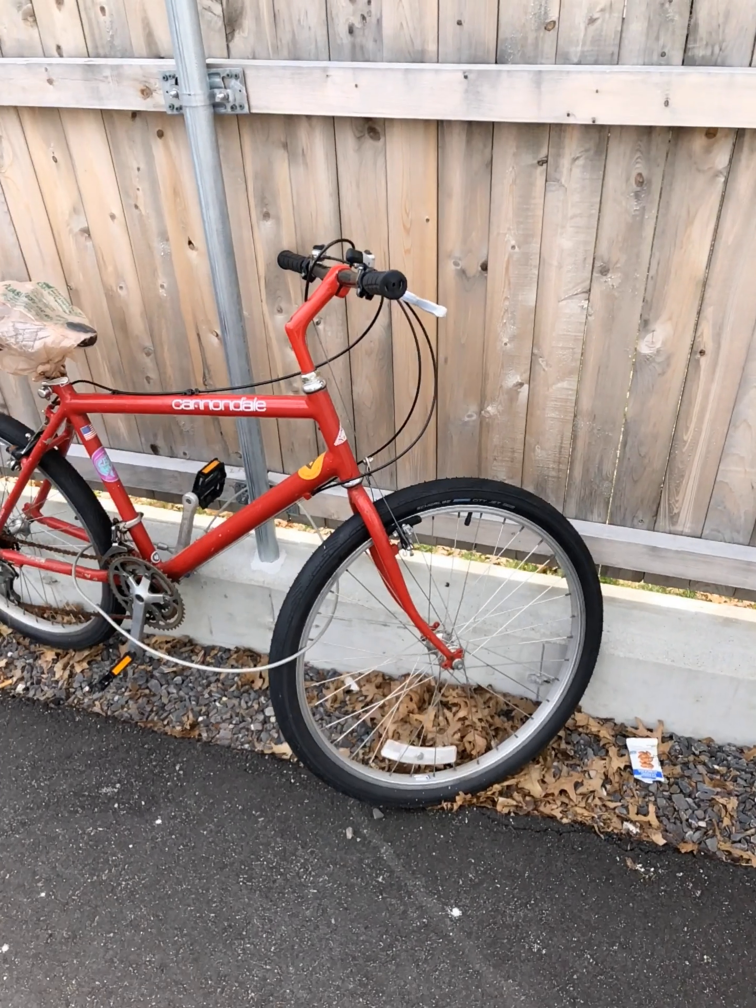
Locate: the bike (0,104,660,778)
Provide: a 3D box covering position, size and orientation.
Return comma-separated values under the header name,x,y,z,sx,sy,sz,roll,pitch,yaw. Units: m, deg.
name,x,y,z,sx,sy,sz,roll,pitch,yaw
bike,-0.349,-0.138,1.634,1.473,1.001,0.596,6,35,18
